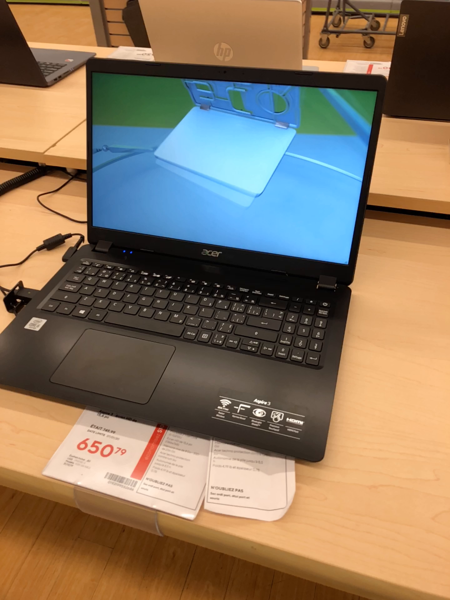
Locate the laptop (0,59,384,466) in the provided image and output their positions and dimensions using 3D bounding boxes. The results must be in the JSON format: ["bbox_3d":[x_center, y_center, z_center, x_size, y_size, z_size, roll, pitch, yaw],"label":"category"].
[{"bbox_3d":[-0.046,-0.078,0.508,0.354,0.210,0.328,11,43,14],"label":"laptop"}]
